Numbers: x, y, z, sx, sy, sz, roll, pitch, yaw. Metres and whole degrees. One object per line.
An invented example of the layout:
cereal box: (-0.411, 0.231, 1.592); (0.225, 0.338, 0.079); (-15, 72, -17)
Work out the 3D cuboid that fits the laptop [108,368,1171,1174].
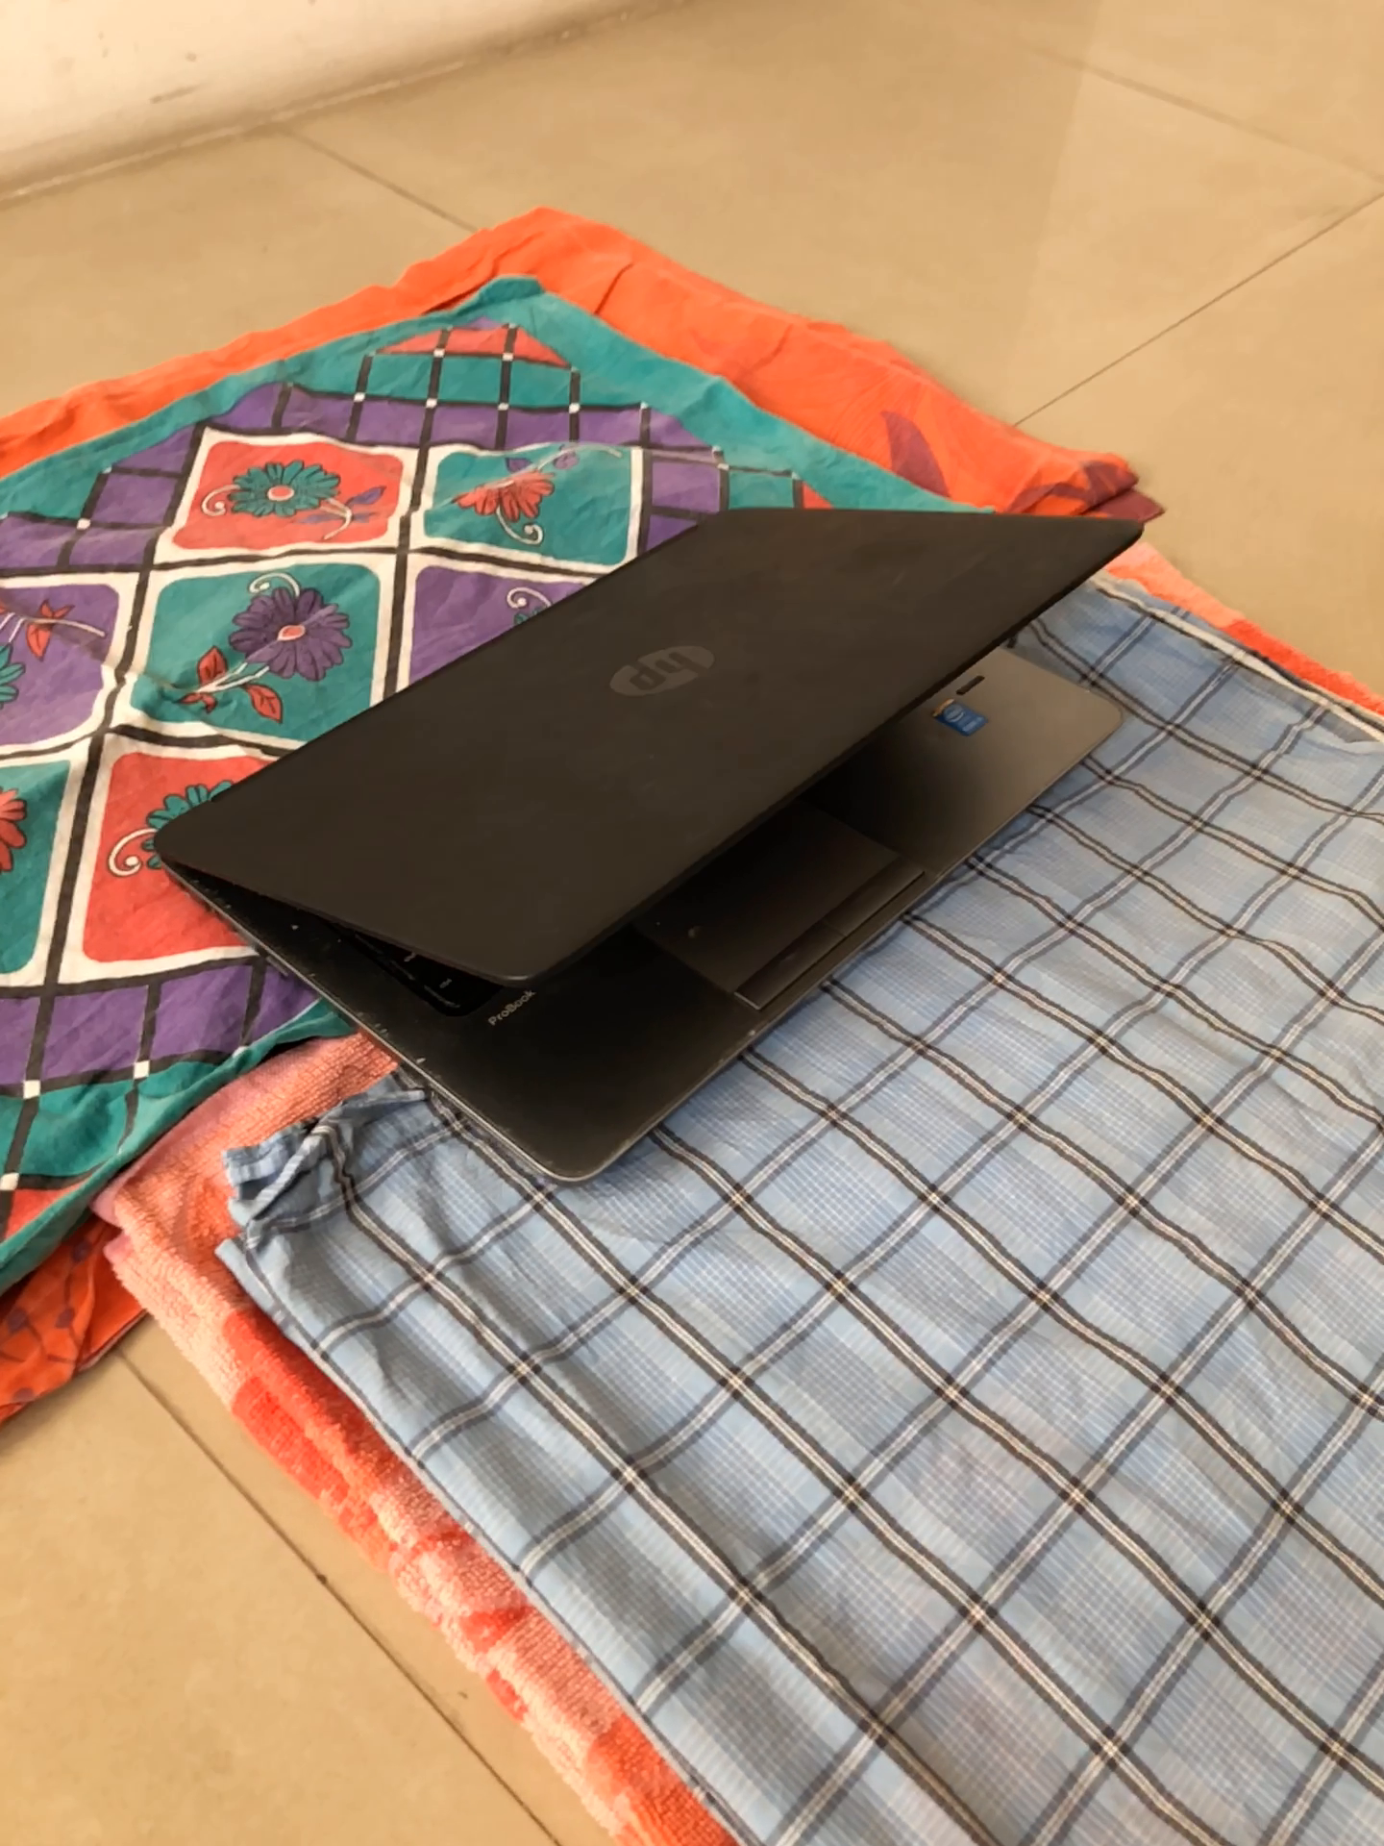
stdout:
laptop: (-0.008, -0.085, 0.569); (0.212, 0.099, 0.323); (32, 50, 28)
